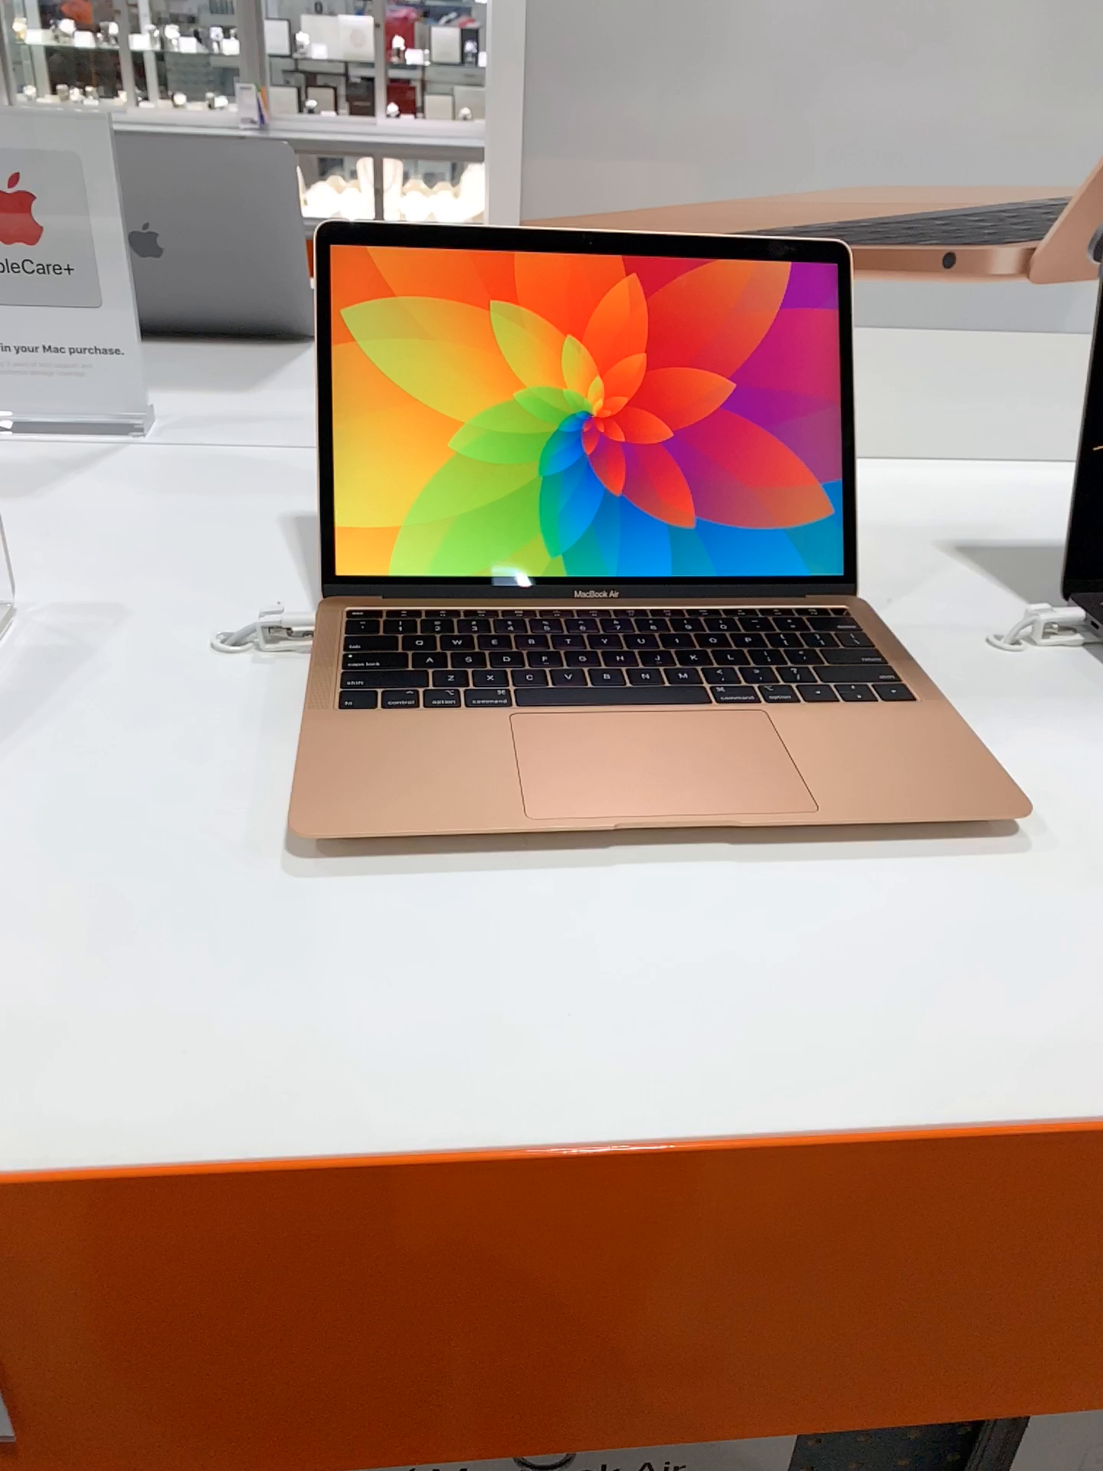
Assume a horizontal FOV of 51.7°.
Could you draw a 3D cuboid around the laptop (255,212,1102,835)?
[{"bbox_3d":[0.034,-0.122,0.533,0.293,0.170,0.311,-1,32,-8],"label":"laptop"}]
